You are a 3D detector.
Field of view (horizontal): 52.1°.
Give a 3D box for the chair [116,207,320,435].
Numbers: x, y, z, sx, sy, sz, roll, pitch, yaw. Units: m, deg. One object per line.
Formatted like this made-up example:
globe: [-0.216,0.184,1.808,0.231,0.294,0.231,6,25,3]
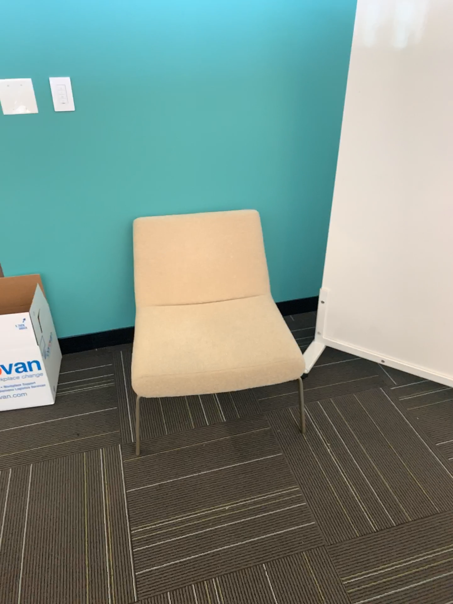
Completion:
chair: [-0.081,0.027,1.933,0.660,0.567,0.734,-6,32,-9]
